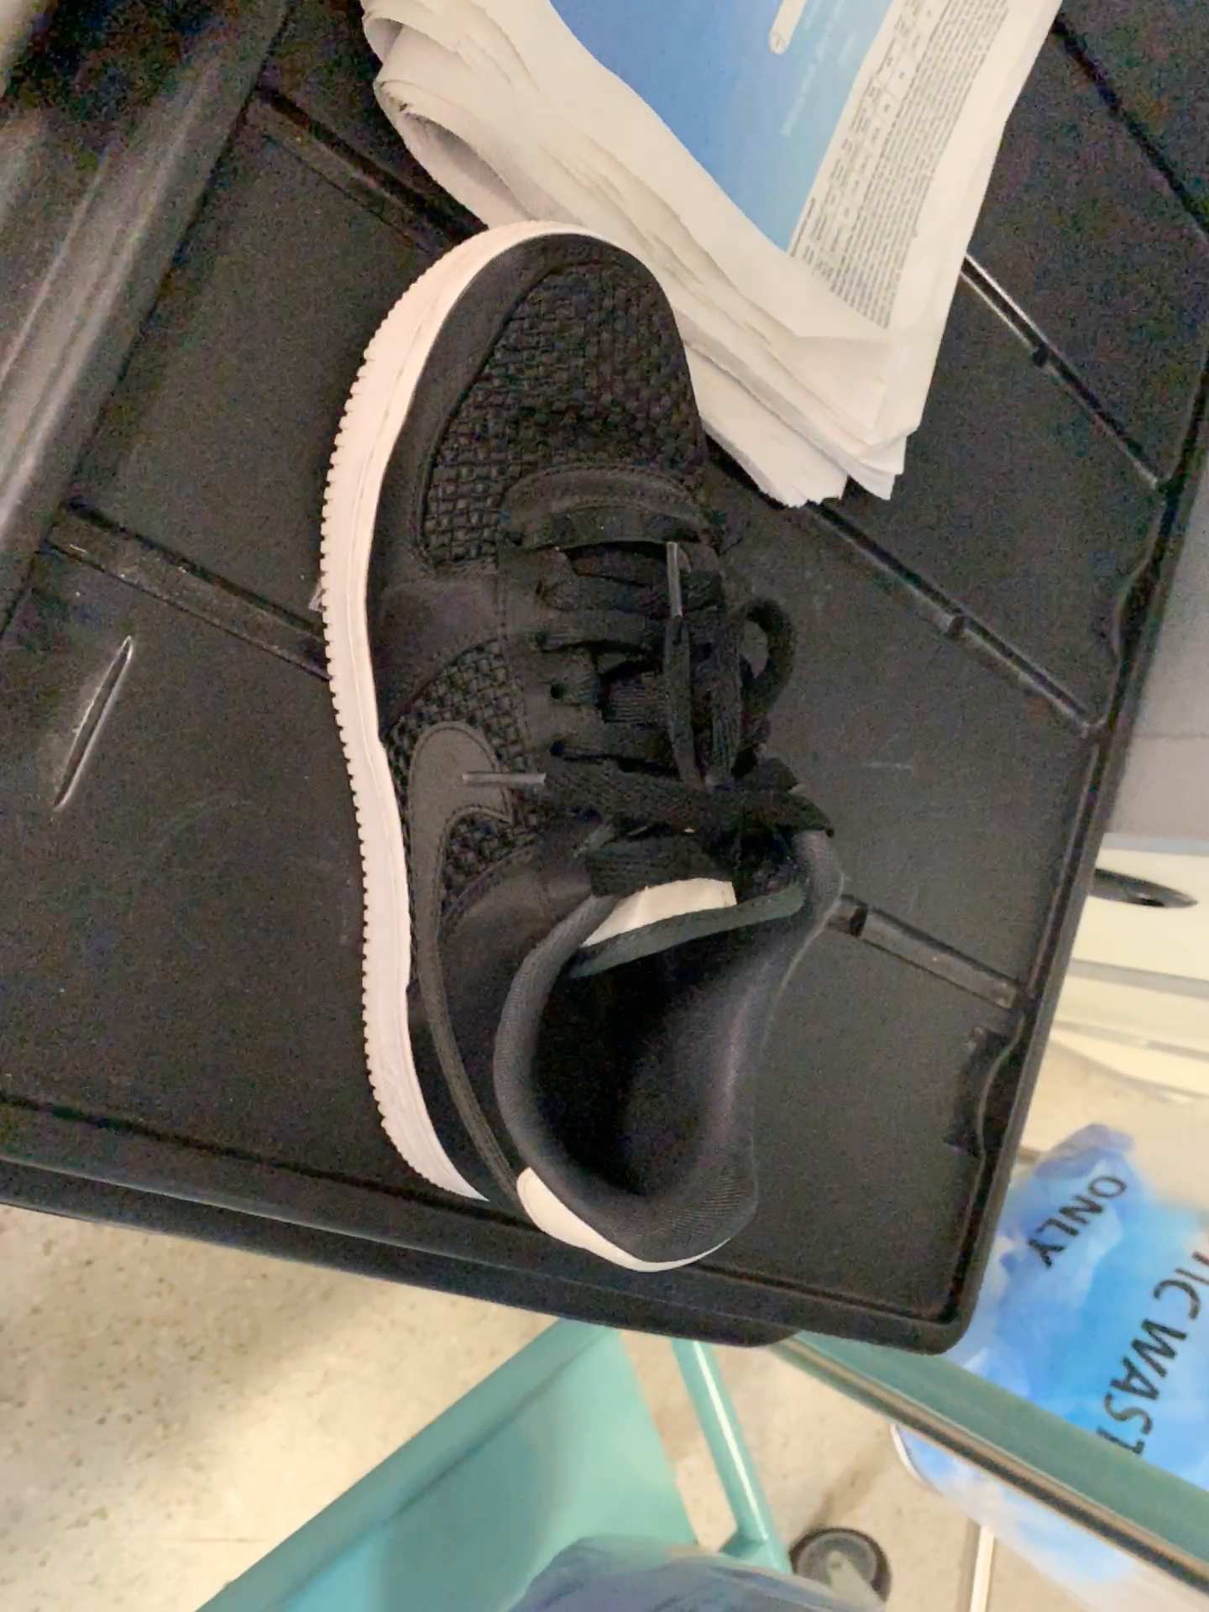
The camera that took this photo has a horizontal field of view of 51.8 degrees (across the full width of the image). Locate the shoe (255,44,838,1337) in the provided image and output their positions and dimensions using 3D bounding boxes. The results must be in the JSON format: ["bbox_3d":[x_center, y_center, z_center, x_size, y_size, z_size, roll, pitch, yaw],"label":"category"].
[{"bbox_3d":[-0.014,-0.021,0.281,0.090,0.094,0.224,-4,95,-36],"label":"shoe"}]
